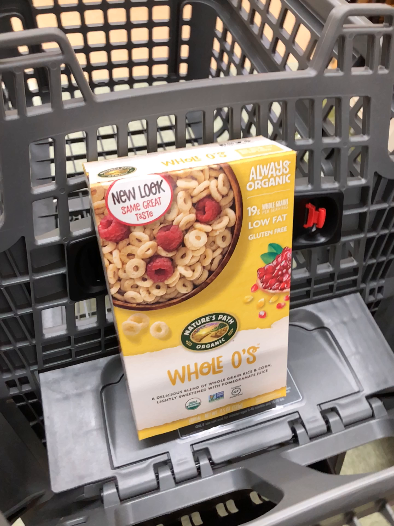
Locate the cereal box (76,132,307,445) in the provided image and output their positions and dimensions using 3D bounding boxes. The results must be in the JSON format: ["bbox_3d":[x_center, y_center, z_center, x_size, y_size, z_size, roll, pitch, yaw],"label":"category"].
[{"bbox_3d":[0.003,0.029,0.384,0.160,0.250,0.060,-12,30,-13],"label":"cereal box"}]
